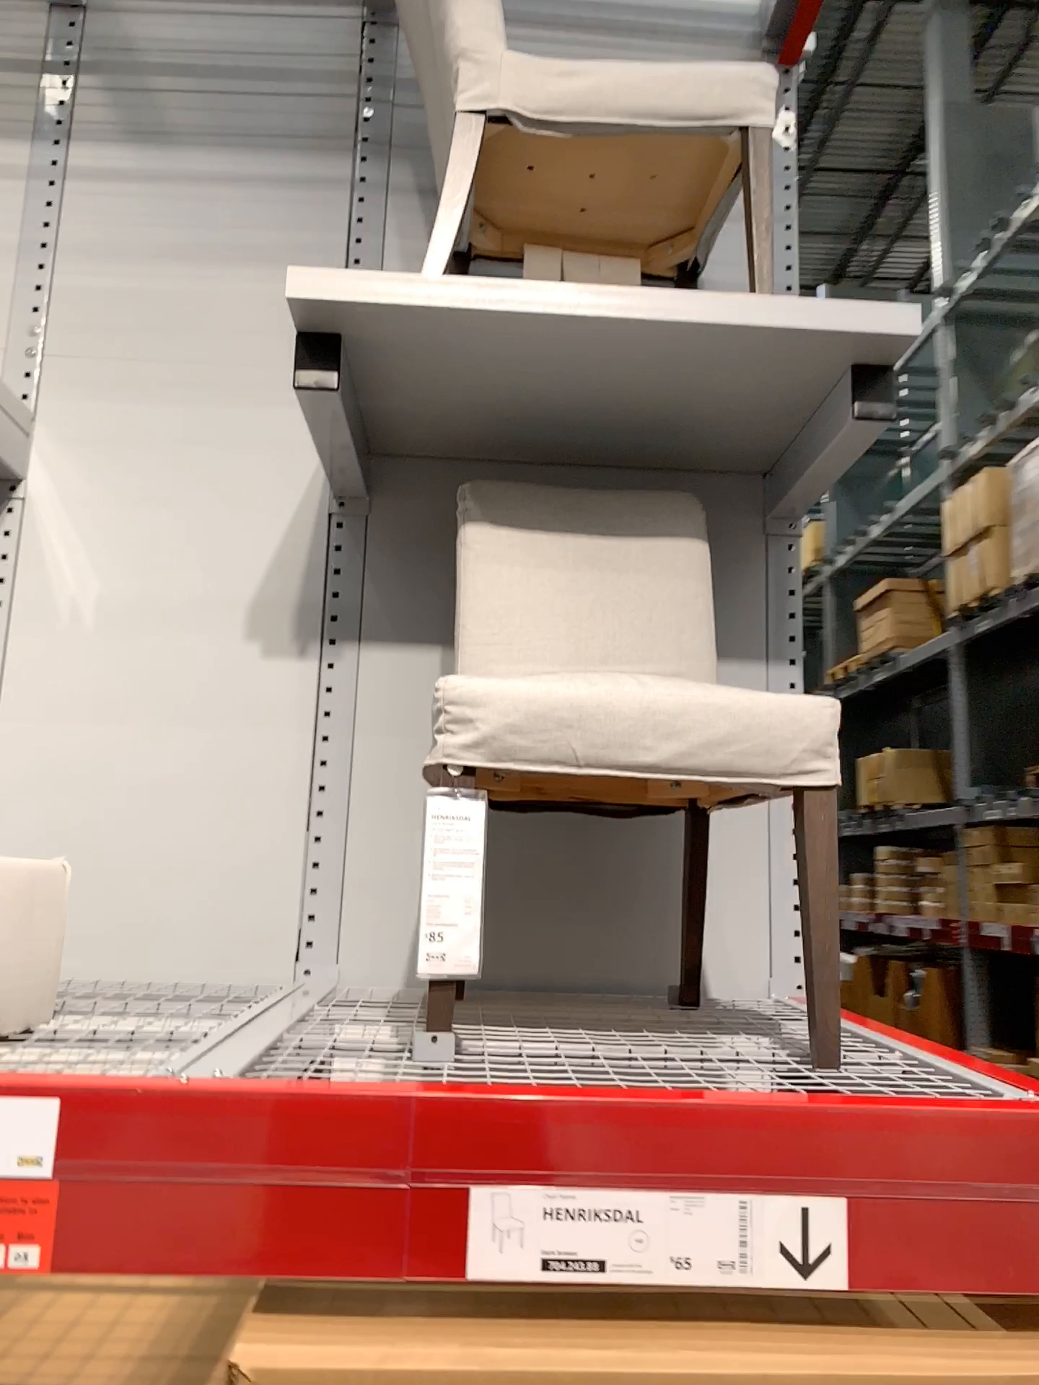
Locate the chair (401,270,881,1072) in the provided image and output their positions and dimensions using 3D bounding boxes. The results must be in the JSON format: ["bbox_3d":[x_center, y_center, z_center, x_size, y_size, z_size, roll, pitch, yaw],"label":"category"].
[{"bbox_3d":[0.128,0.005,1.639,0.560,0.983,0.668,3,-11,-5],"label":"chair"}]
